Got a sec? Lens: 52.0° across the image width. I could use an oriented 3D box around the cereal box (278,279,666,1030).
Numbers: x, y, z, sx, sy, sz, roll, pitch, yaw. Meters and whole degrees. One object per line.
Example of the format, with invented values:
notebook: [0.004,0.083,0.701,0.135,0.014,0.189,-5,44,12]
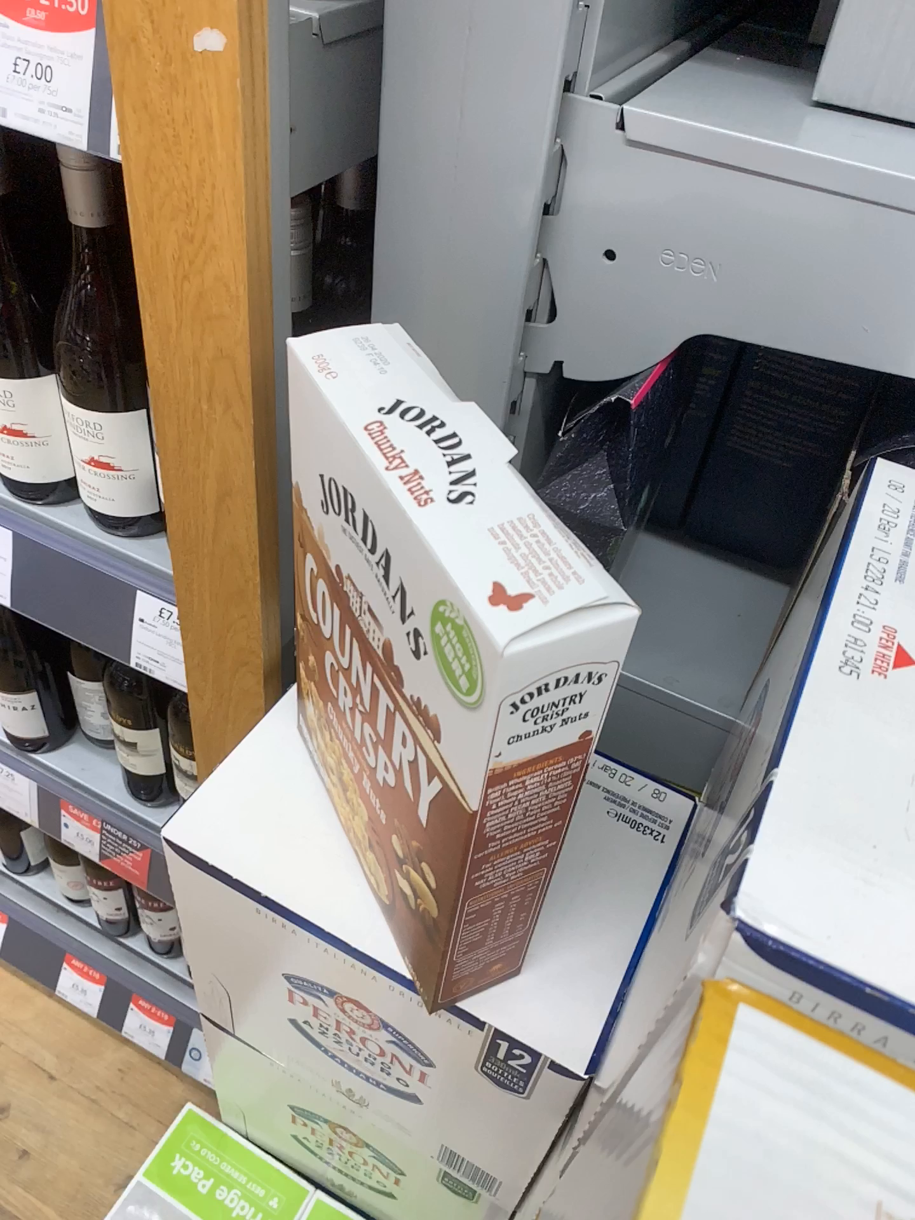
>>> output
cereal box: [-0.019,0.027,0.401,0.050,0.257,0.192,-15,48,-22]
